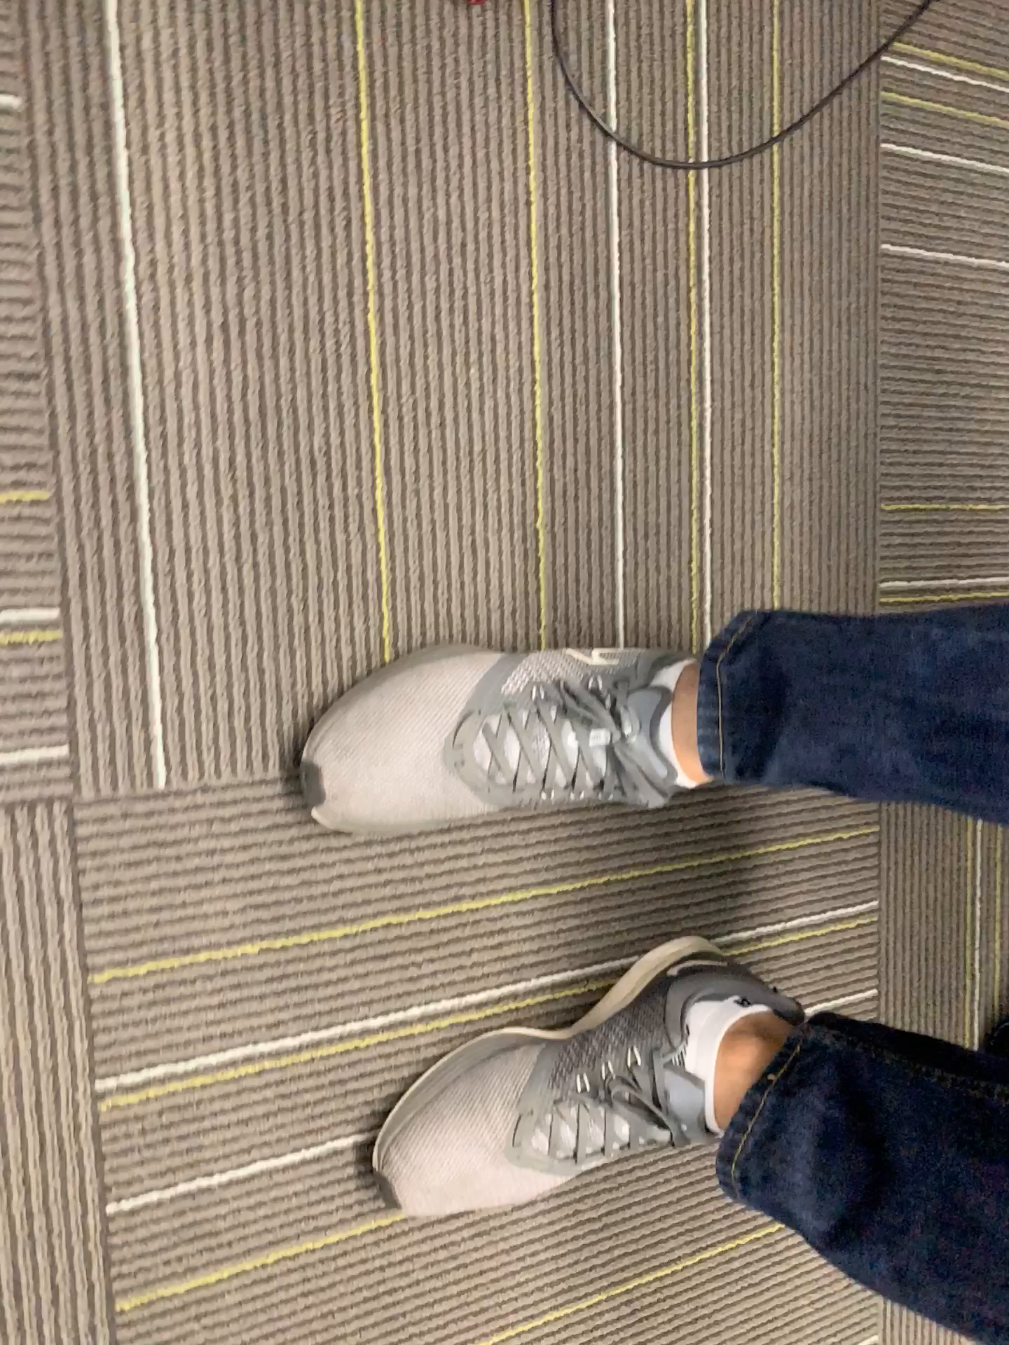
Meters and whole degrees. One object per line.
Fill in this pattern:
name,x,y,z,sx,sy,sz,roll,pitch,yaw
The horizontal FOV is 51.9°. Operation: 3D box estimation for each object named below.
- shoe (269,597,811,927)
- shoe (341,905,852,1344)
shoe,0.025,0.037,0.623,0.291,0.123,0.120,-11,100,-25
shoe,0.063,0.283,0.675,0.291,0.123,0.120,-21,104,-23
